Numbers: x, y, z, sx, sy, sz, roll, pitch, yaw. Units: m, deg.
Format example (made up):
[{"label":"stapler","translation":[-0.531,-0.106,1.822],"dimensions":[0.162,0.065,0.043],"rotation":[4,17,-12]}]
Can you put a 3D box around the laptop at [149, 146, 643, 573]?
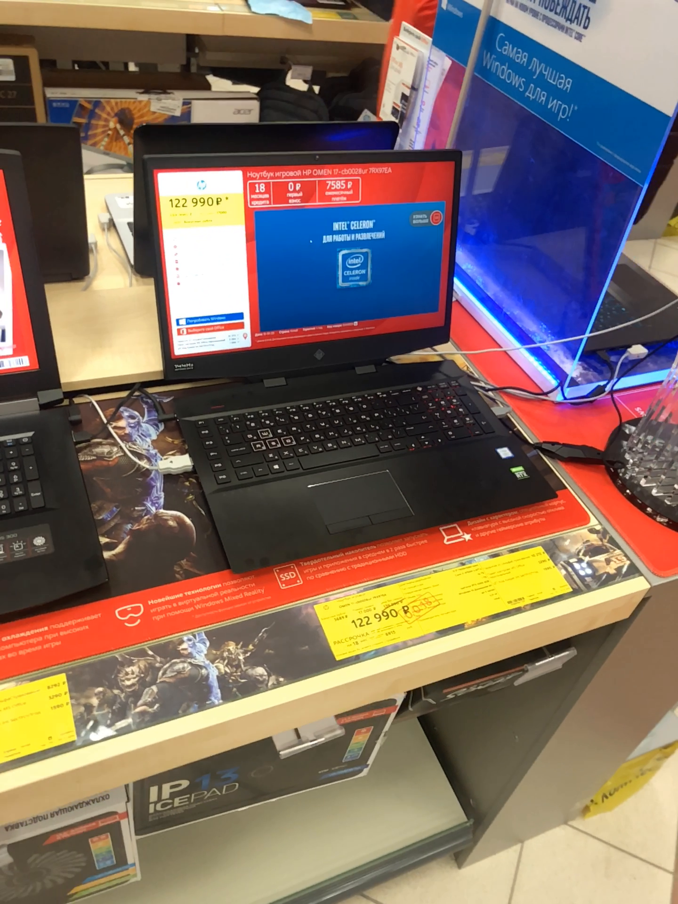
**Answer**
[{"label":"laptop","translation":[0.025,-0.135,0.840],"dimensions":[0.392,0.246,0.376],"rotation":[-10,48,-21]}]
